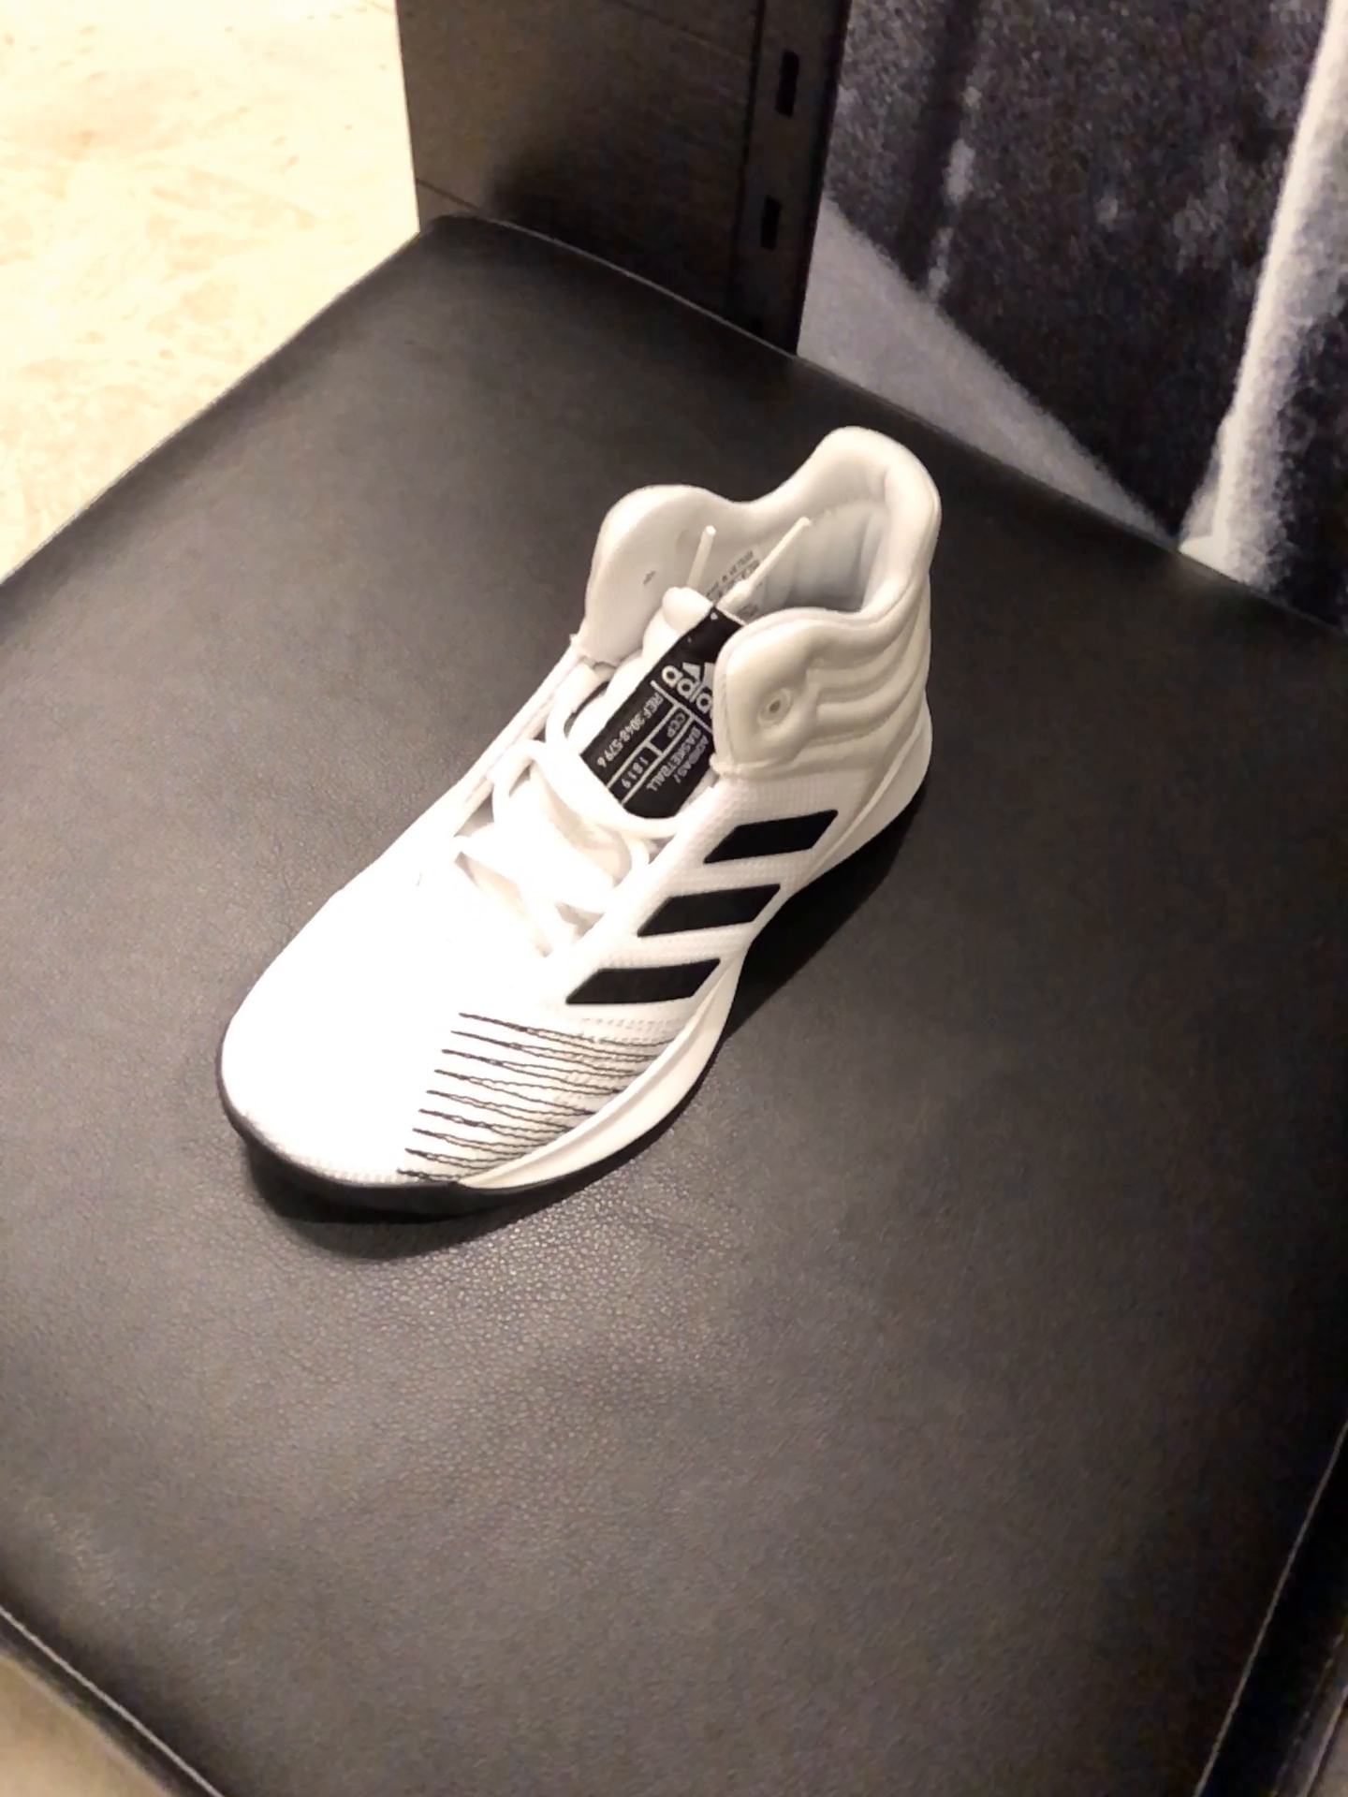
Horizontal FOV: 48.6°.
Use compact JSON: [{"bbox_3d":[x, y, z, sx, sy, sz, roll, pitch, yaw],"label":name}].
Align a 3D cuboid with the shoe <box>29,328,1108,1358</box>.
[{"bbox_3d":[-0.015,-0.017,0.362,0.100,0.110,0.220,40,65,18],"label":"shoe"}]
